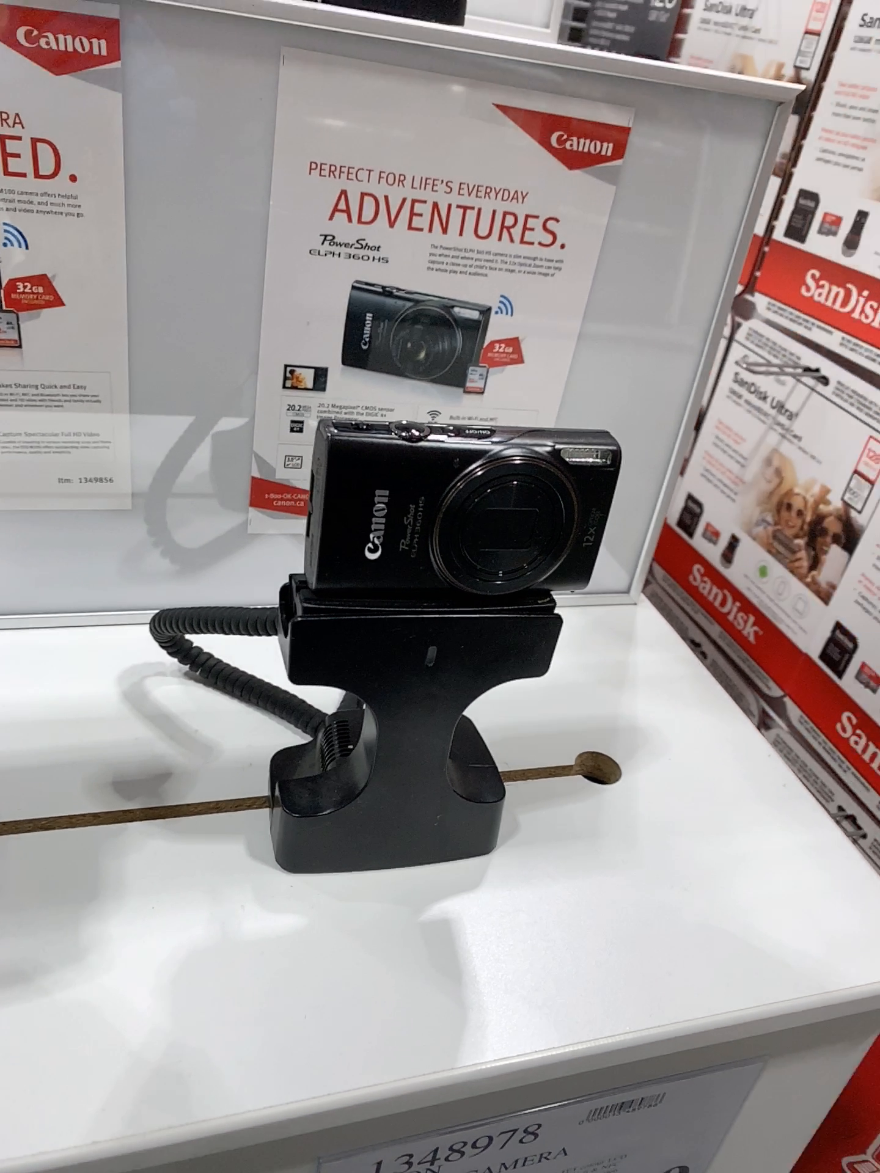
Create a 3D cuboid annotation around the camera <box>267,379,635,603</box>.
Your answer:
[{"bbox_3d":[0.001,-0.031,0.307,0.110,0.060,0.040,0,32,-17],"label":"camera"}]
